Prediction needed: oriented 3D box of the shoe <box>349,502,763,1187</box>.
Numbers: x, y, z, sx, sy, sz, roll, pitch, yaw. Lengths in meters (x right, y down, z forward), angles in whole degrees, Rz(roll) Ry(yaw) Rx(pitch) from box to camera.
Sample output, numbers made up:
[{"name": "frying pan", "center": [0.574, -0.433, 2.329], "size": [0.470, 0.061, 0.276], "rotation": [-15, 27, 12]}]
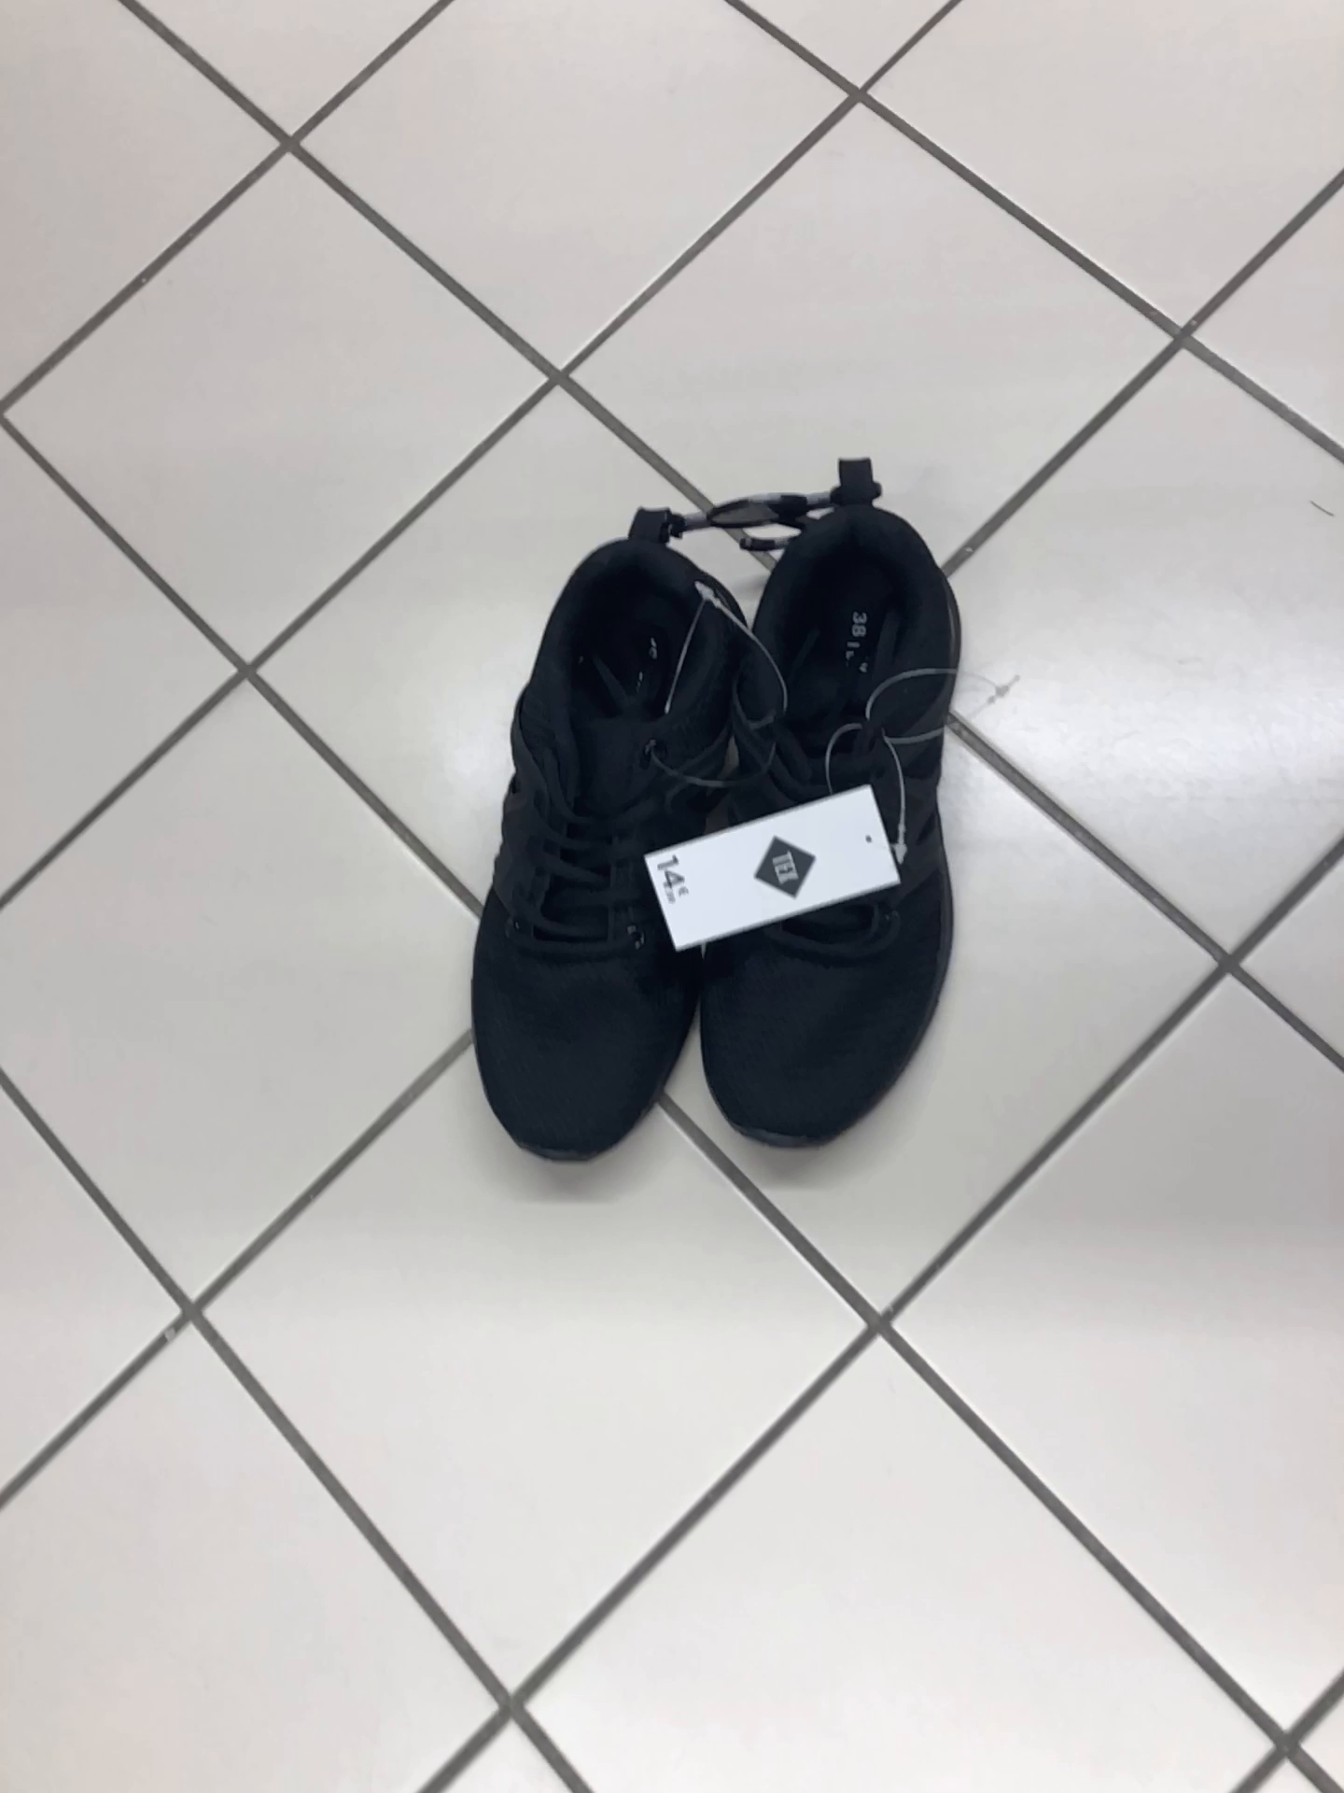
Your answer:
[{"name": "shoe", "center": [-0.038, -0.017, 0.606], "size": [0.100, 0.110, 0.250], "rotation": [9, 78, 10]}]

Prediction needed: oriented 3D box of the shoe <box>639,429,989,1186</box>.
[{"name": "shoe", "center": [0.061, -0.030, 0.582], "size": [0.100, 0.120, 0.270], "rotation": [5, 77, 9]}]
